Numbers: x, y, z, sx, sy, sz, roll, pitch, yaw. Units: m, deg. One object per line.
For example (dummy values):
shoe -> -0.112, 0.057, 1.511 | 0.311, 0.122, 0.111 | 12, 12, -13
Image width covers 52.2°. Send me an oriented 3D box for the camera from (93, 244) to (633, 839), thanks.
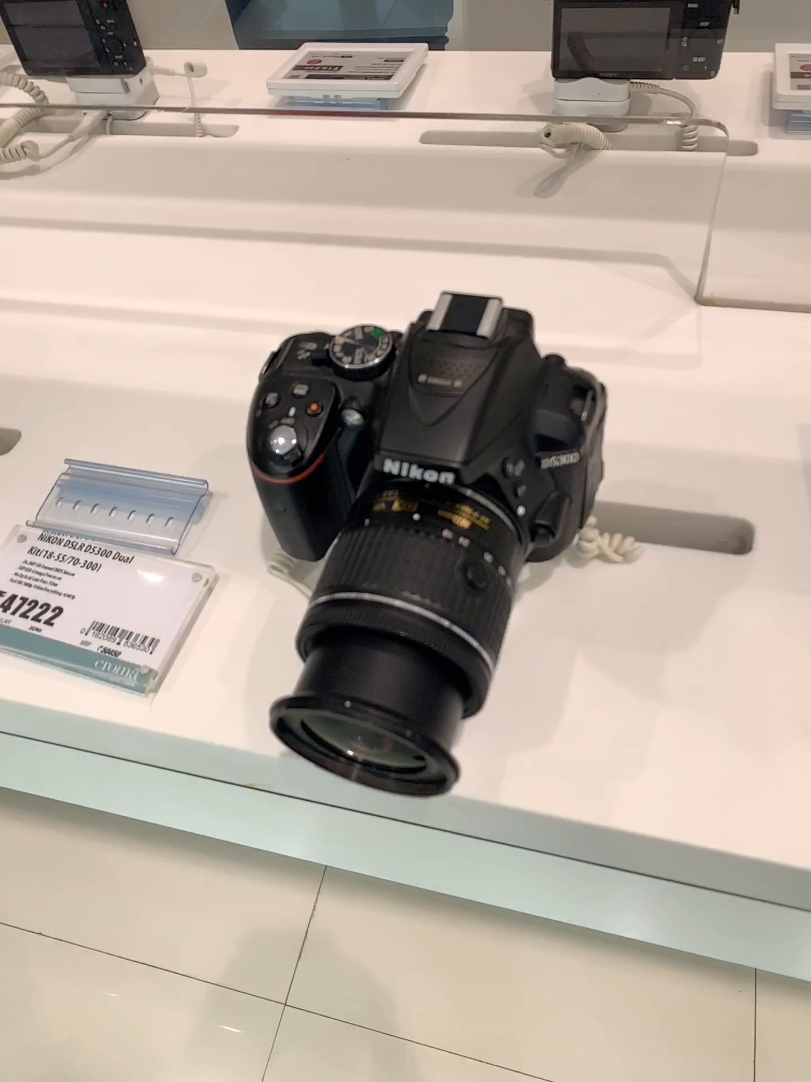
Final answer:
camera -> 0.002, -0.003, 0.272 | 0.110, 0.110, 0.140 | 11, 55, 15
